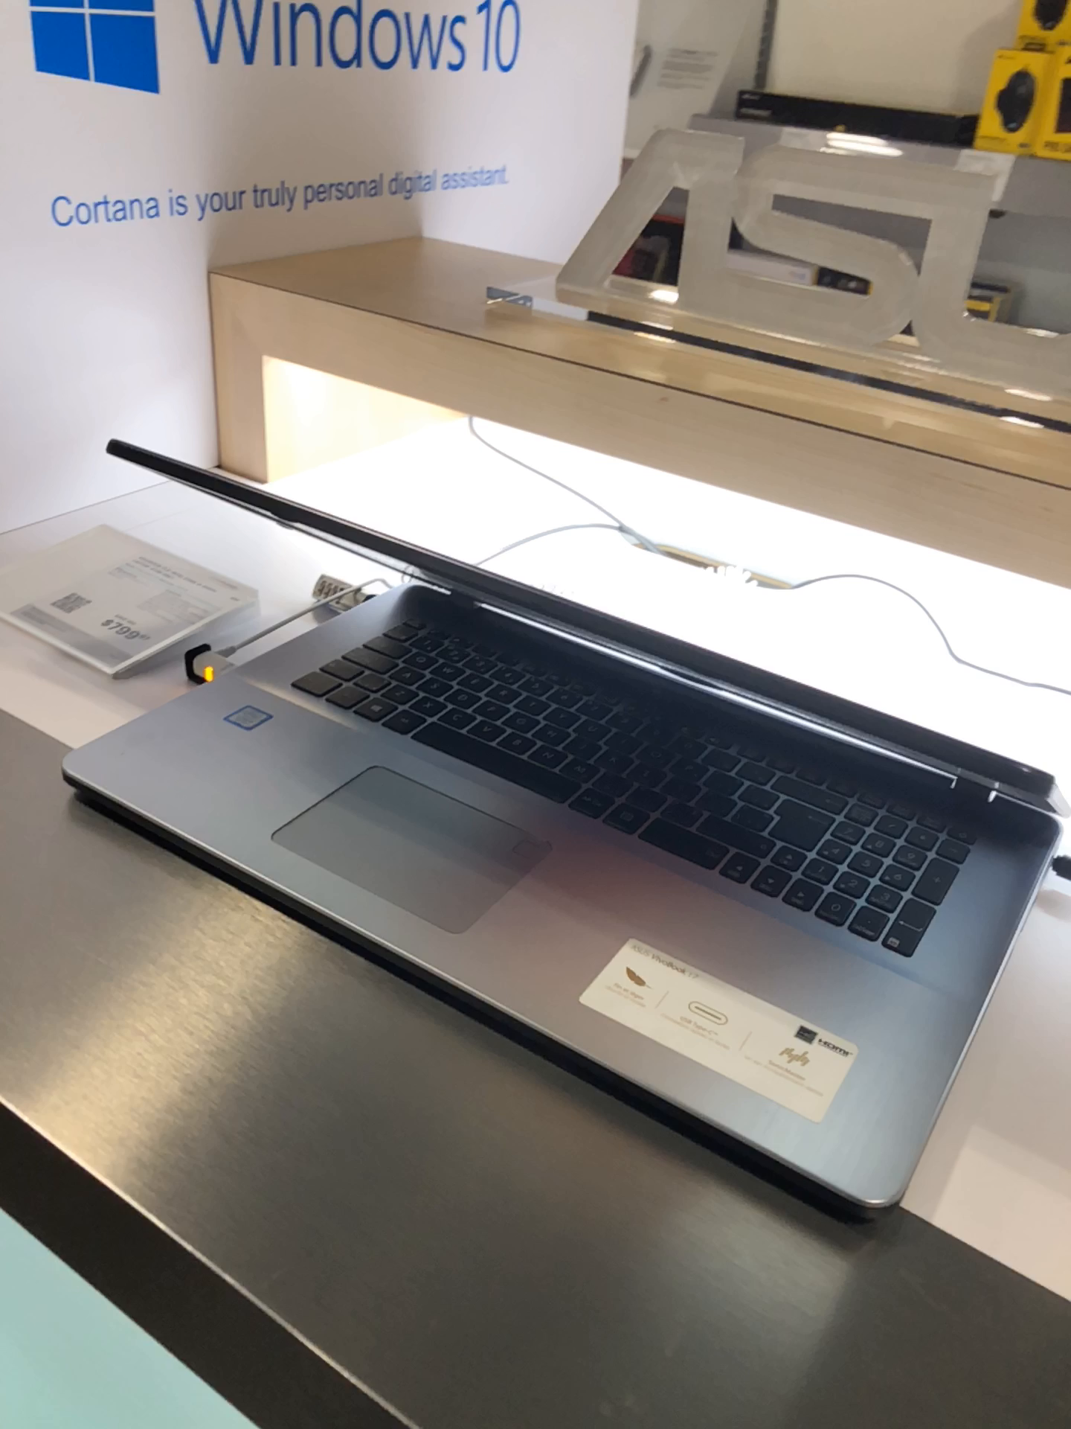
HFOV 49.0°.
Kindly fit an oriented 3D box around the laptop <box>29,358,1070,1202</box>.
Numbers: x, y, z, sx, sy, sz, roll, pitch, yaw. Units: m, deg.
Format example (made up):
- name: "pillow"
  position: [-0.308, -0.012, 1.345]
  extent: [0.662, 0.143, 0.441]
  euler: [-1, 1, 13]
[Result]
- name: "laptop"
  position: [0.021, -0.023, 0.526]
  extent: [0.391, 0.144, 0.260]
  euler: [22, 35, 26]
